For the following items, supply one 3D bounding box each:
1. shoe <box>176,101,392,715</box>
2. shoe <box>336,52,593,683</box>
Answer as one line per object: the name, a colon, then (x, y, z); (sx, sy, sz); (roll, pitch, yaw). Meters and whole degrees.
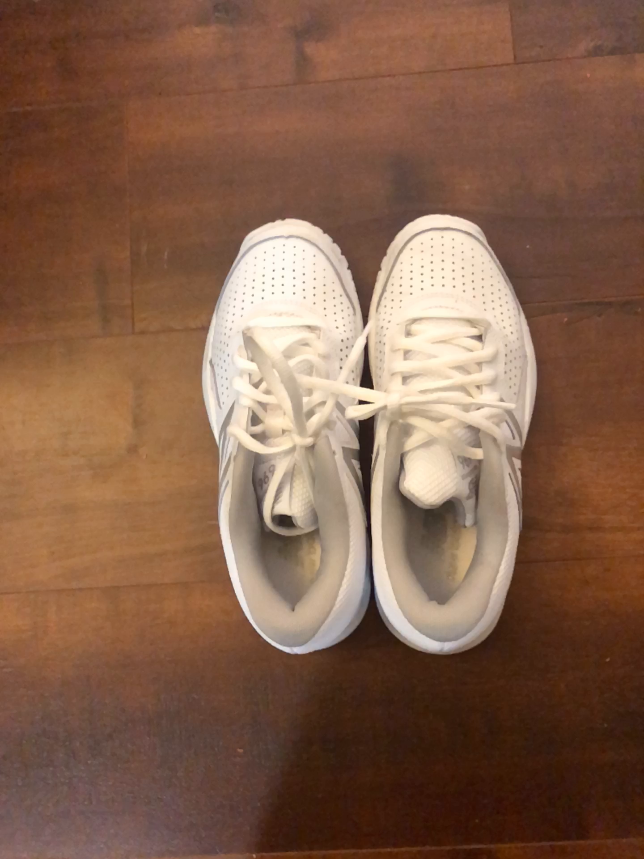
shoe: (-0.018, -0.010, 0.426); (0.100, 0.130, 0.310); (-3, 84, 3)
shoe: (0.077, -0.029, 0.436); (0.120, 0.170, 0.310); (0, 84, 6)
